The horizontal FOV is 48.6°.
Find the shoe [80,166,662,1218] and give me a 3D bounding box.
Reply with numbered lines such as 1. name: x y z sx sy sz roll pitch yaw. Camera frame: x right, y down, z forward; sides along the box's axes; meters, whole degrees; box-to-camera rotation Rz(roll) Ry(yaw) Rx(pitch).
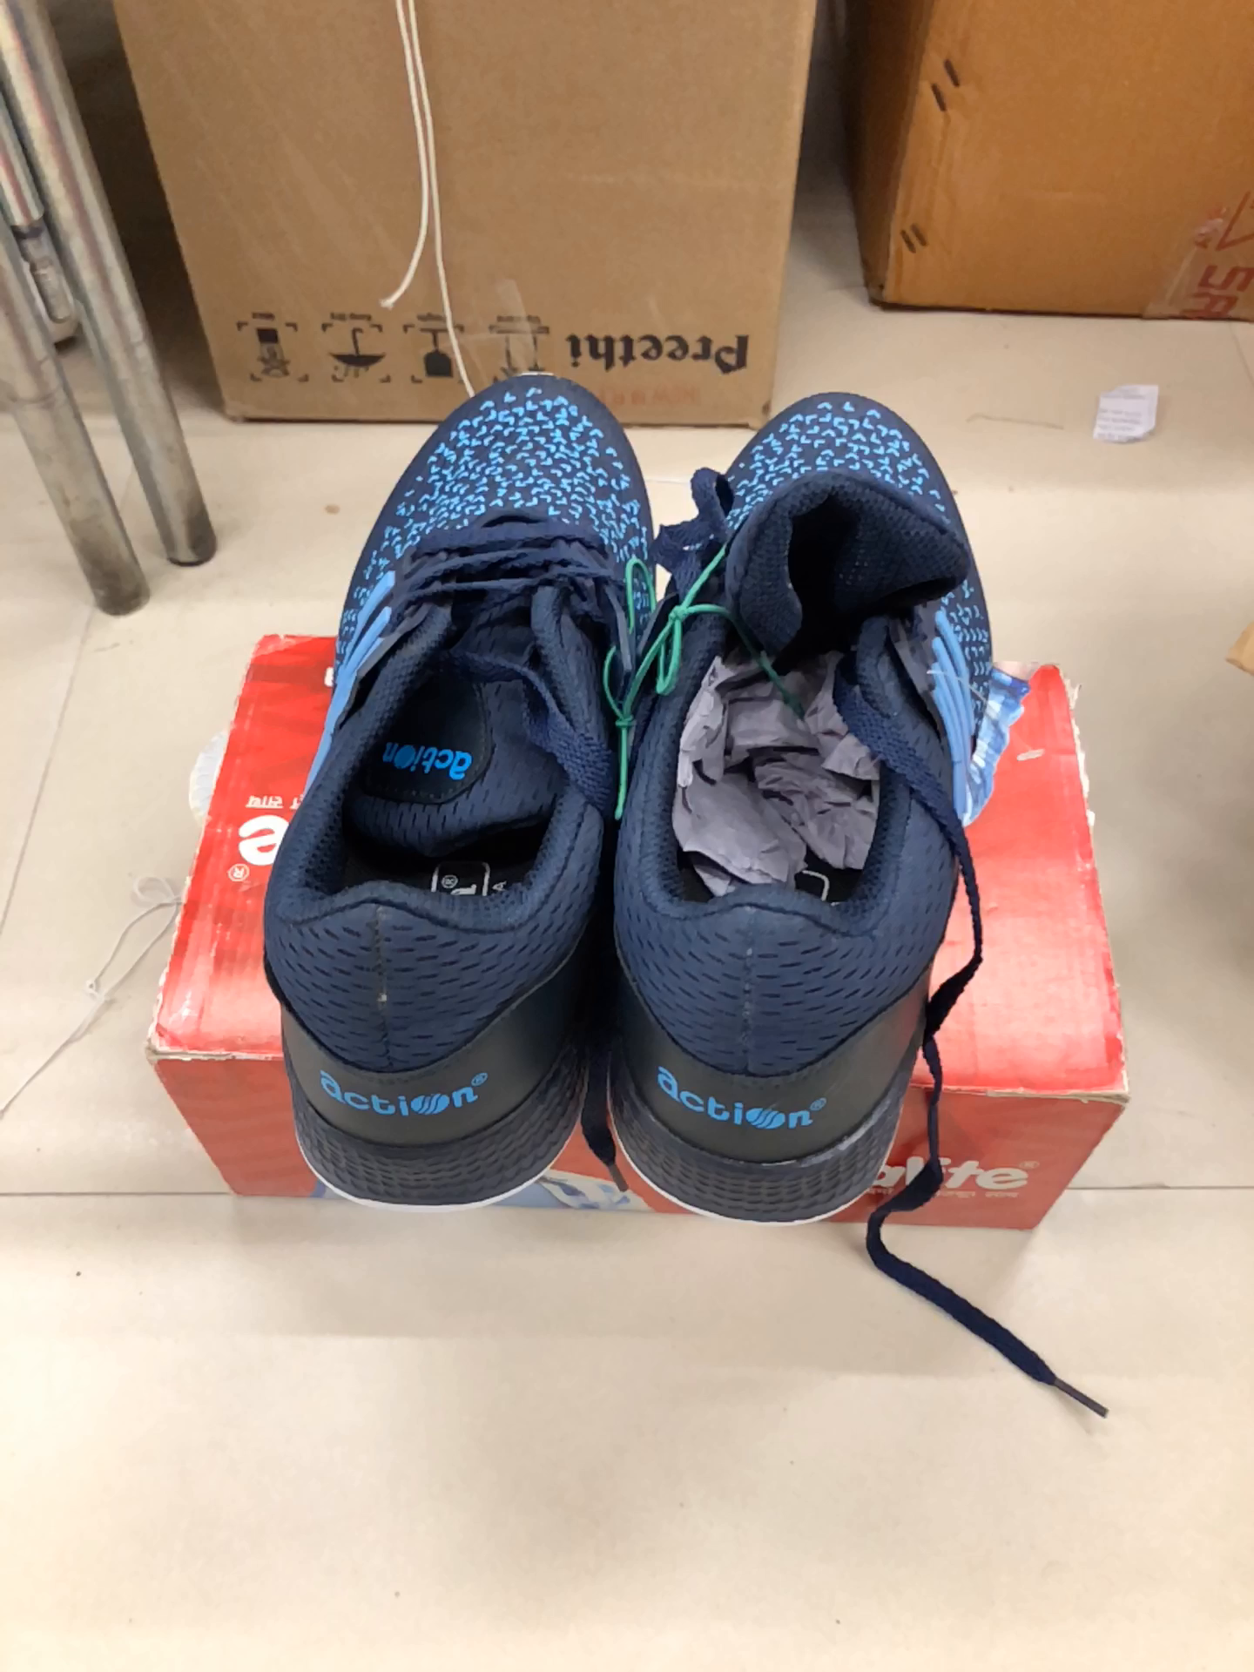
1. shoe: -0.046 -0.047 0.385 0.101 0.133 0.264 2 56 1

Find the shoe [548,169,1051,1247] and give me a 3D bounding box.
1. shoe: 0.051 -0.044 0.383 0.093 0.132 0.264 7 56 5
